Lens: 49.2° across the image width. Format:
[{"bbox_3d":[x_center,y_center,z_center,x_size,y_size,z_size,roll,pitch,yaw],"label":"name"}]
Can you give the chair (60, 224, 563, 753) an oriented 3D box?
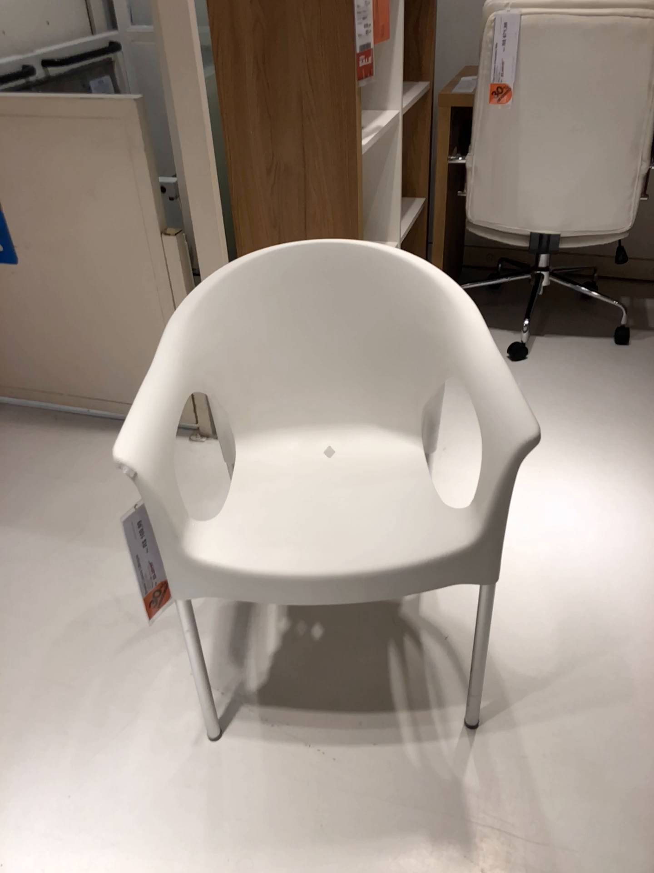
[{"bbox_3d":[-0.001,0.086,1.325,0.610,0.735,0.615,-2,35,2],"label":"chair"}]
